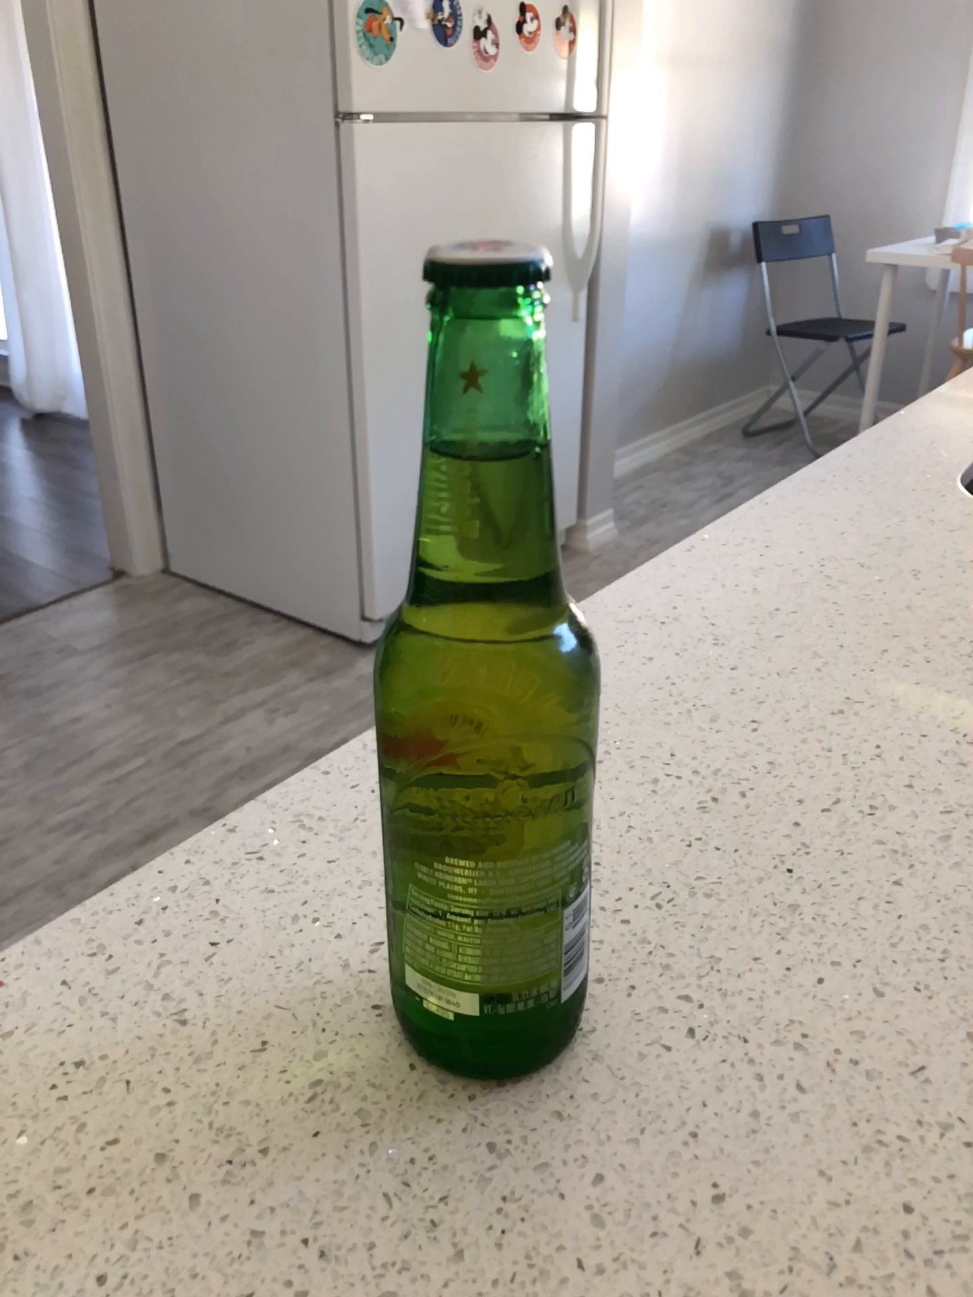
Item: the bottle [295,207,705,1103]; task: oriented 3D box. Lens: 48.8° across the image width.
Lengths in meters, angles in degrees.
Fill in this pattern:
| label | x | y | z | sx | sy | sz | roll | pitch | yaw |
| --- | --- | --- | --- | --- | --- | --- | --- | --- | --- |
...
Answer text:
| label | x | y | z | sx | sy | sz | roll | pitch | yaw |
| --- | --- | --- | --- | --- | --- | --- | --- | --- | --- |
| bottle | -0.001 | 0.005 | 0.270 | 0.070 | 0.209 | 0.070 | 0 | 26 | 0 |
